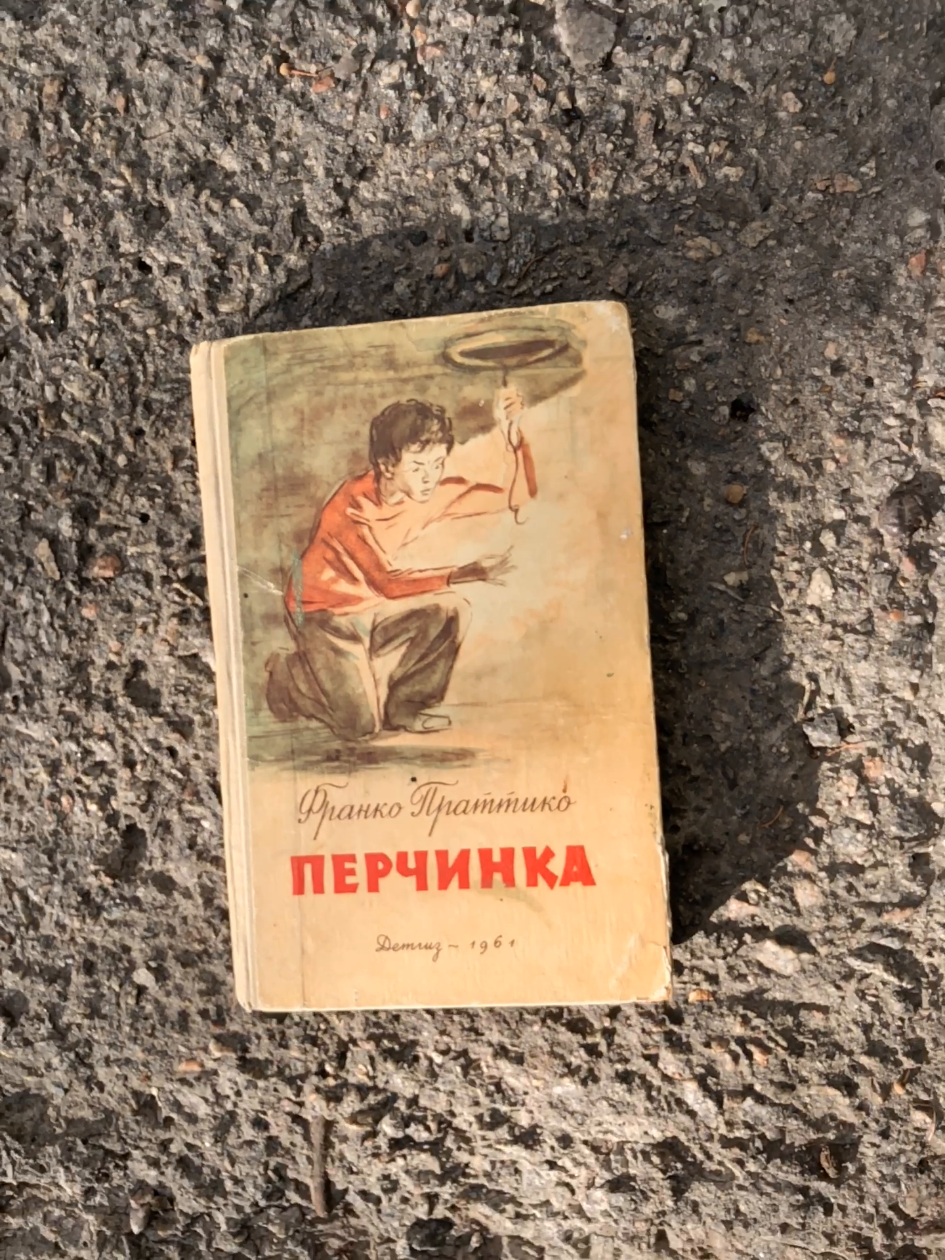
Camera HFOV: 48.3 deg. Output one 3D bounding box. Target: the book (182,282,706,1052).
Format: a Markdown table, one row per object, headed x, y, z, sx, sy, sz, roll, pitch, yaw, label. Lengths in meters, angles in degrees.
| x | y | z | sx | sy | sz | roll | pitch | yaw | label |
| --- | --- | --- | --- | --- | --- | --- | --- | --- | --- |
| -0.007 | 0.012 | 0.301 | 0.132 | 0.030 | 0.203 | -3 | 91 | 5 | book |
